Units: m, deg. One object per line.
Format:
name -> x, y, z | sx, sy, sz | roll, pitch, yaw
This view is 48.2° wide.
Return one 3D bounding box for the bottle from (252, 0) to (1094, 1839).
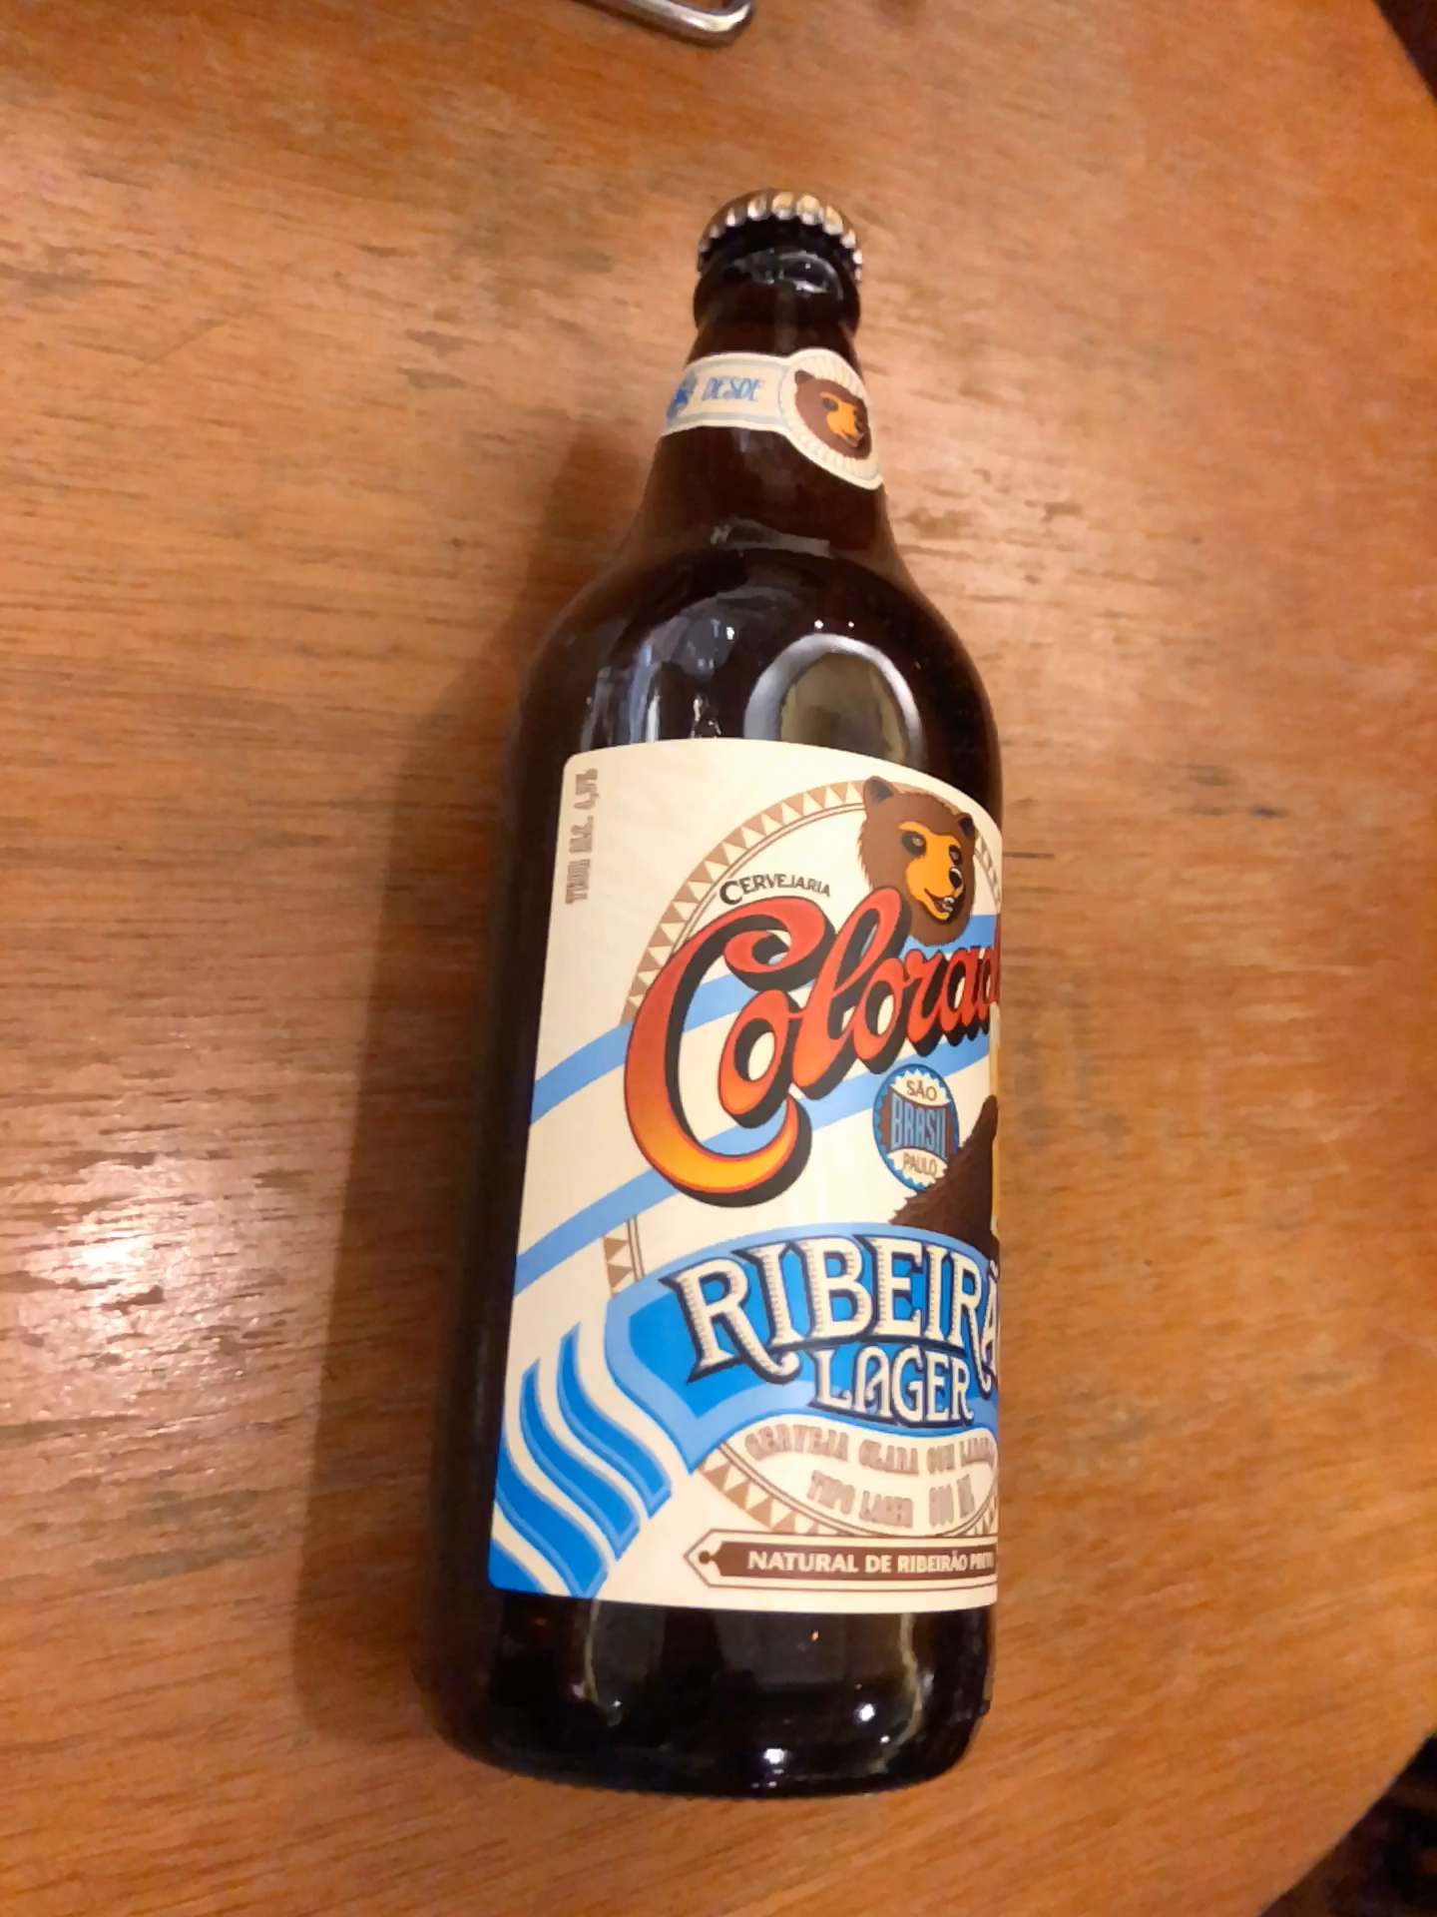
bottle -> 0.000, -0.023, 0.242 | 0.090, 0.060, 0.260 | 12, 71, -27
